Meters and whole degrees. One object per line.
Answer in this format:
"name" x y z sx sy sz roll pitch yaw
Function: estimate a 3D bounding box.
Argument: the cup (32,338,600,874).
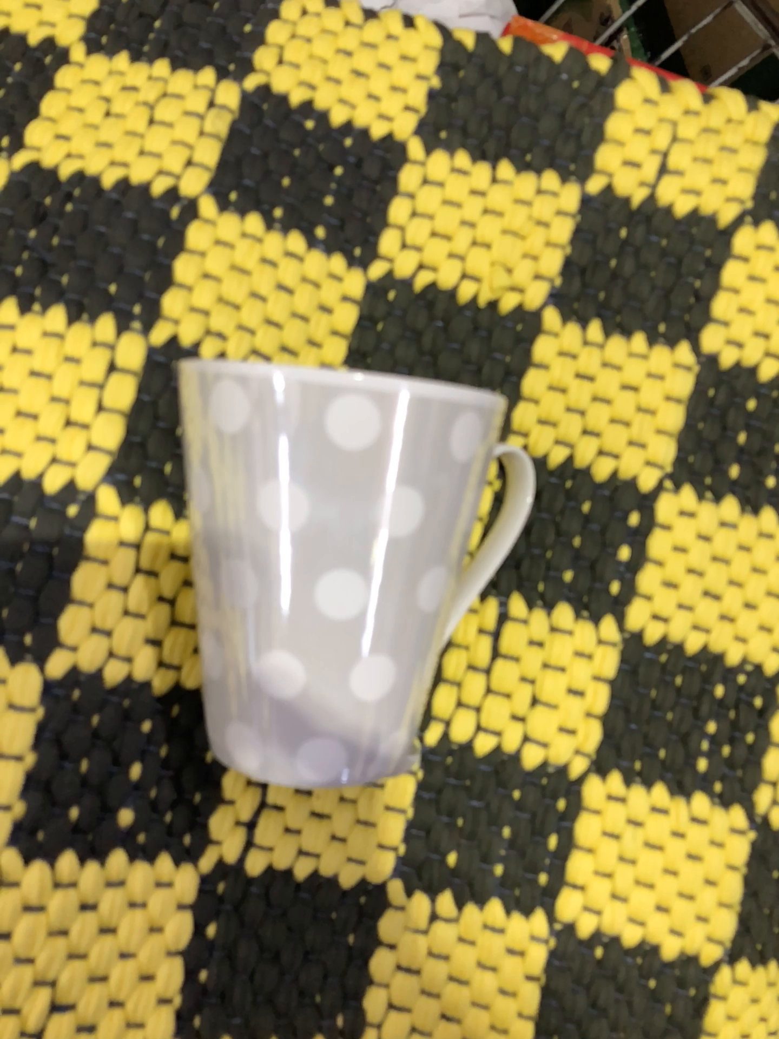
"cup" -0.013 0.012 0.234 0.120 0.090 0.100 -1 99 -56
